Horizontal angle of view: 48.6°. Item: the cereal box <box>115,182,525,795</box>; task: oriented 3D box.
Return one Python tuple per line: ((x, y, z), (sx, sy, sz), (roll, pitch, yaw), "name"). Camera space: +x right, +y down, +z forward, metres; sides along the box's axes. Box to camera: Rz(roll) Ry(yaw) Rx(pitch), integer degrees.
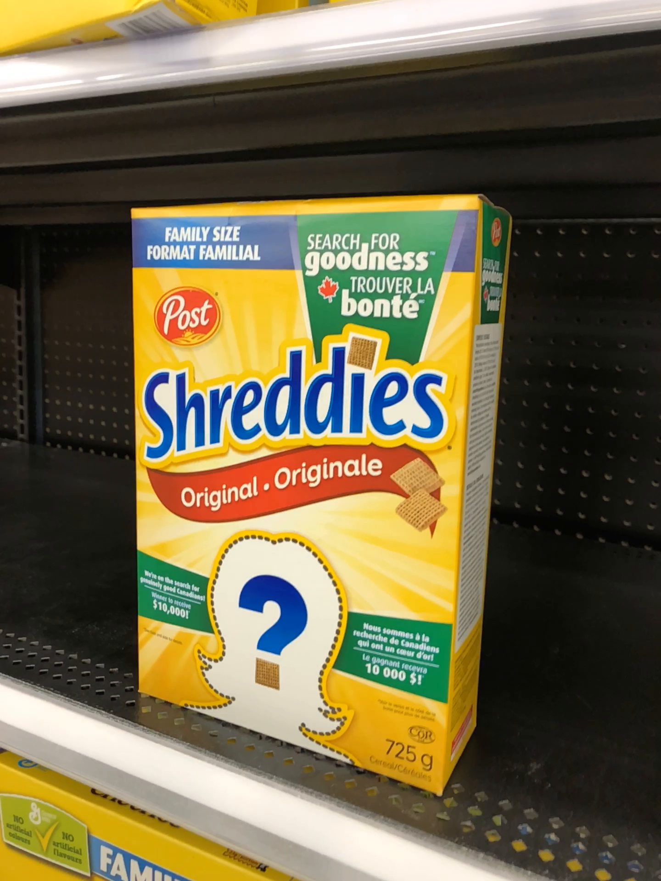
((-0.015, 0.015, 0.413), (0.210, 0.289, 0.070), (7, 11, 26), "cereal box")
